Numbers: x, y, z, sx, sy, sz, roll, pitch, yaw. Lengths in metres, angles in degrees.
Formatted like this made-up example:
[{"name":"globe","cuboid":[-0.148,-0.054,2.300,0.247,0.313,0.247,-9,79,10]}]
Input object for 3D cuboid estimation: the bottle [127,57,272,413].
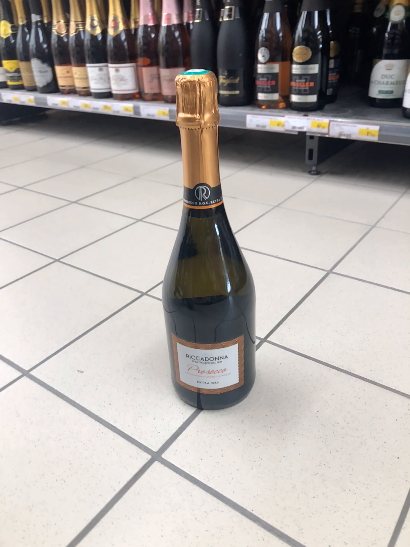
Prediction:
[{"name":"bottle","cuboid":[0.006,-0.022,0.423,0.100,0.318,0.091,0,28,5]}]
